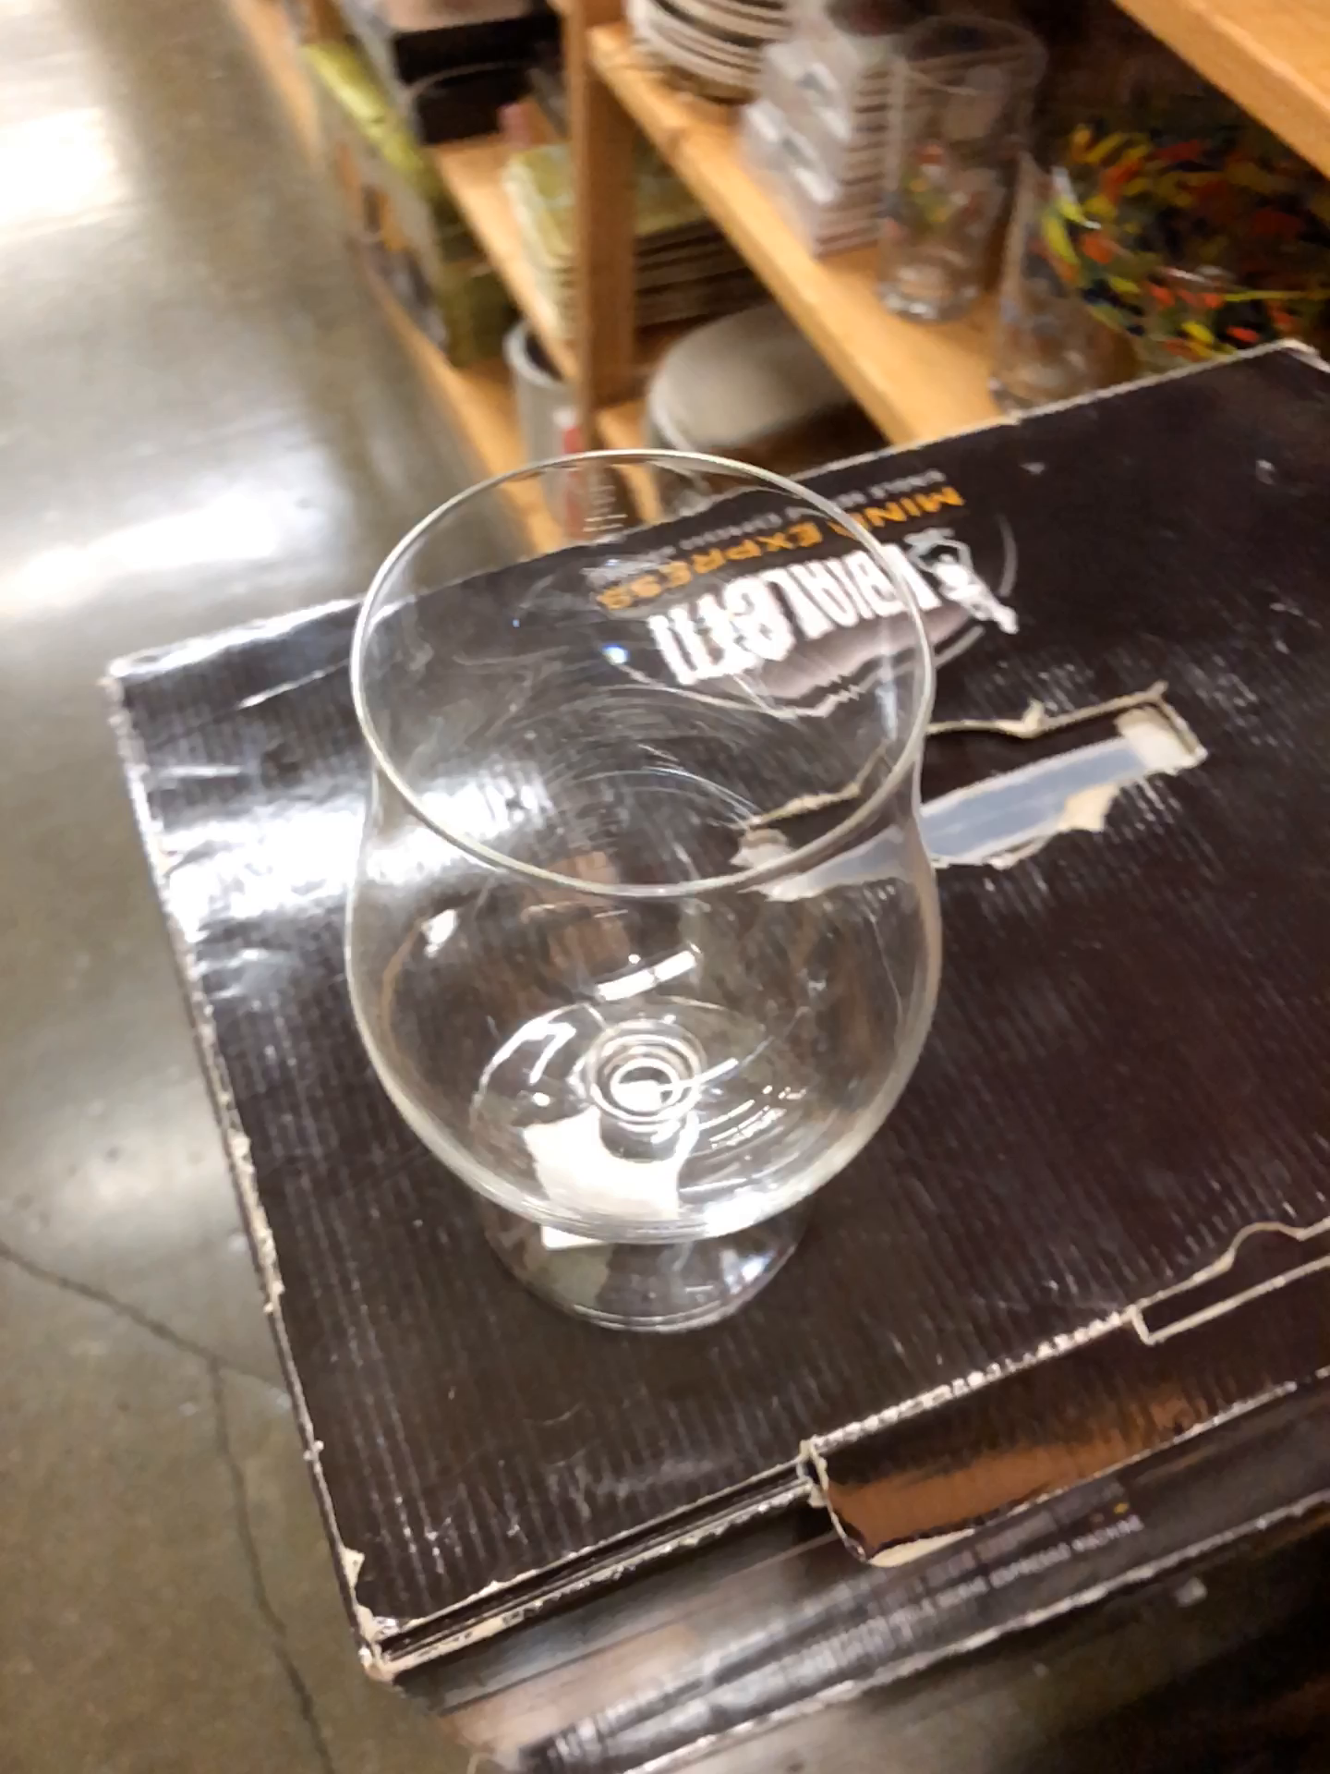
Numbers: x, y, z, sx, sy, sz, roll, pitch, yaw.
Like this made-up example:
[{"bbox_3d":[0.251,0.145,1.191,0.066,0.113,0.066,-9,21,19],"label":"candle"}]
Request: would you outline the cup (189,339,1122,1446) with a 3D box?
[{"bbox_3d":[-0.006,0.012,0.227,0.079,0.145,0.082,0,56,-1],"label":"cup"}]
